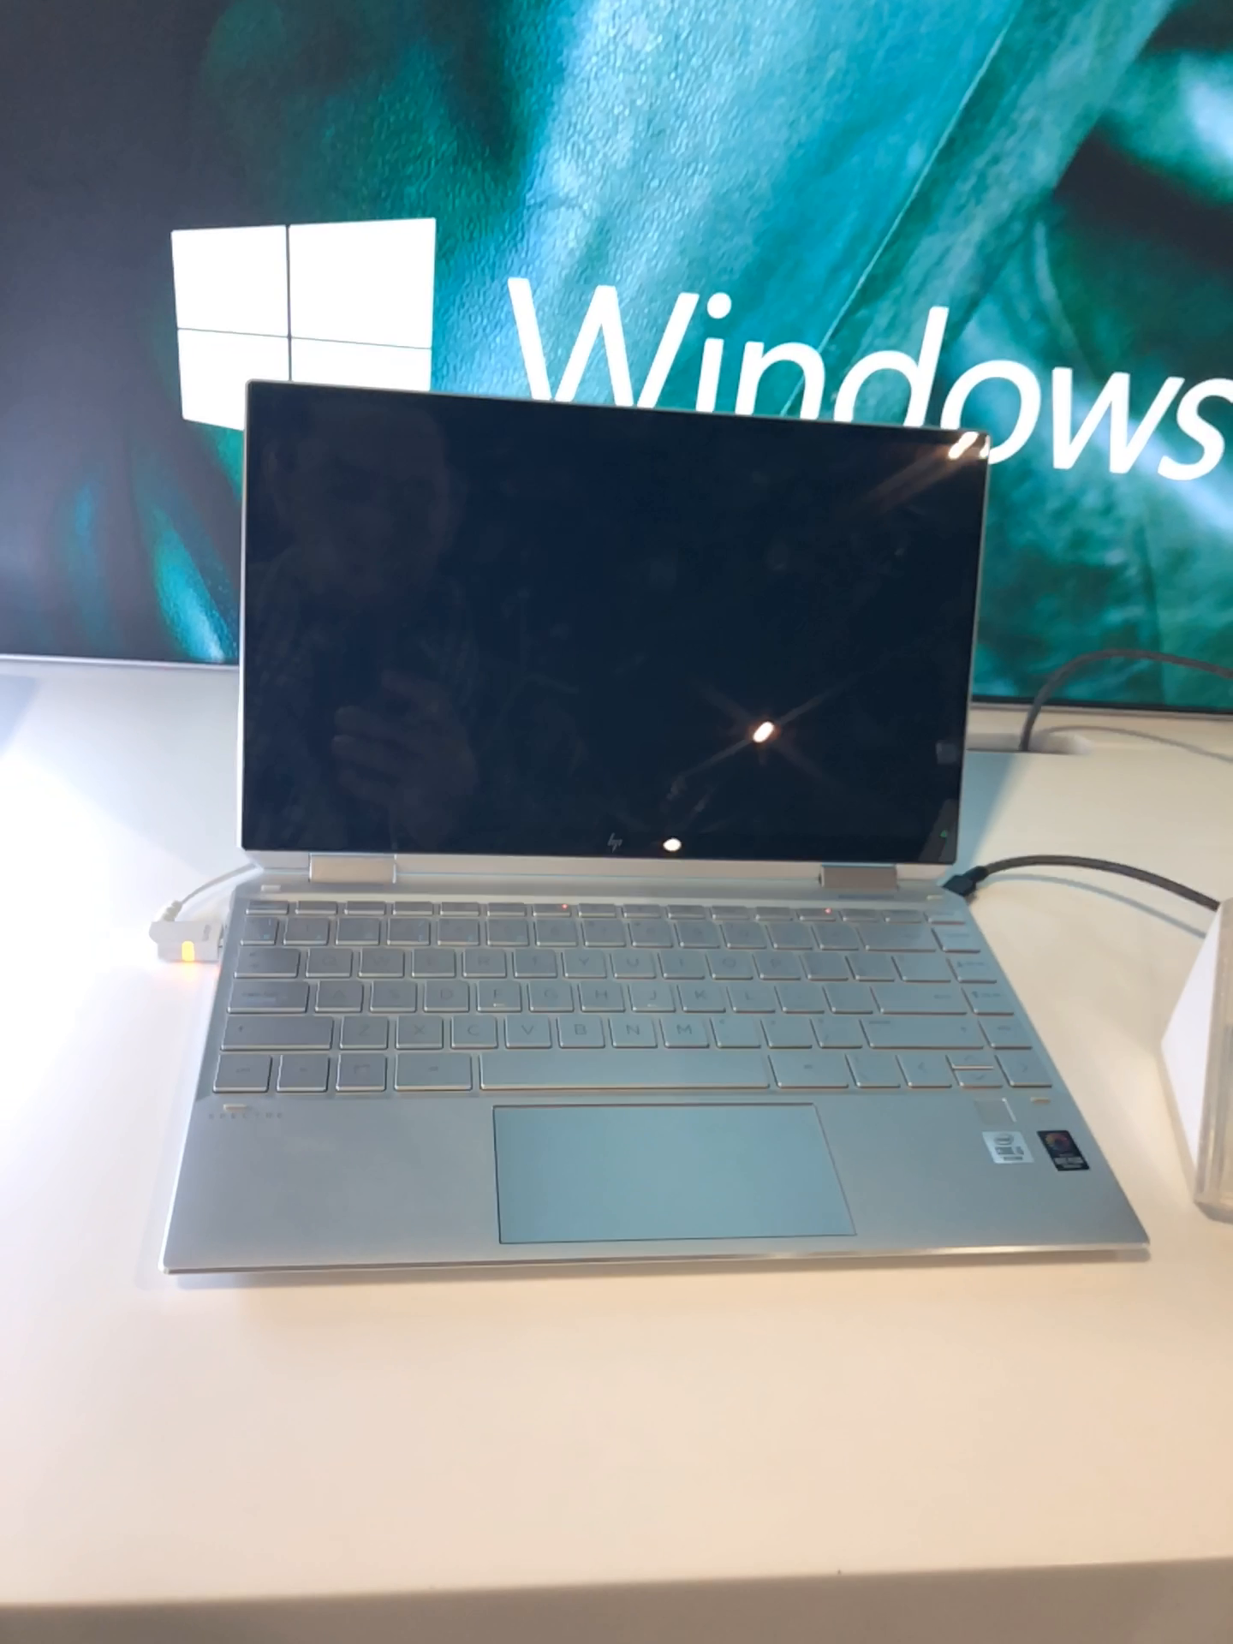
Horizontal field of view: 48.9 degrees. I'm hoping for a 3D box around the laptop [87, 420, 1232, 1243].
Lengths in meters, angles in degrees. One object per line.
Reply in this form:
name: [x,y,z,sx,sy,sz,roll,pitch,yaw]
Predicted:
laptop: [0.007,-0.008,0.449,0.281,0.194,0.241,2,27,-10]
